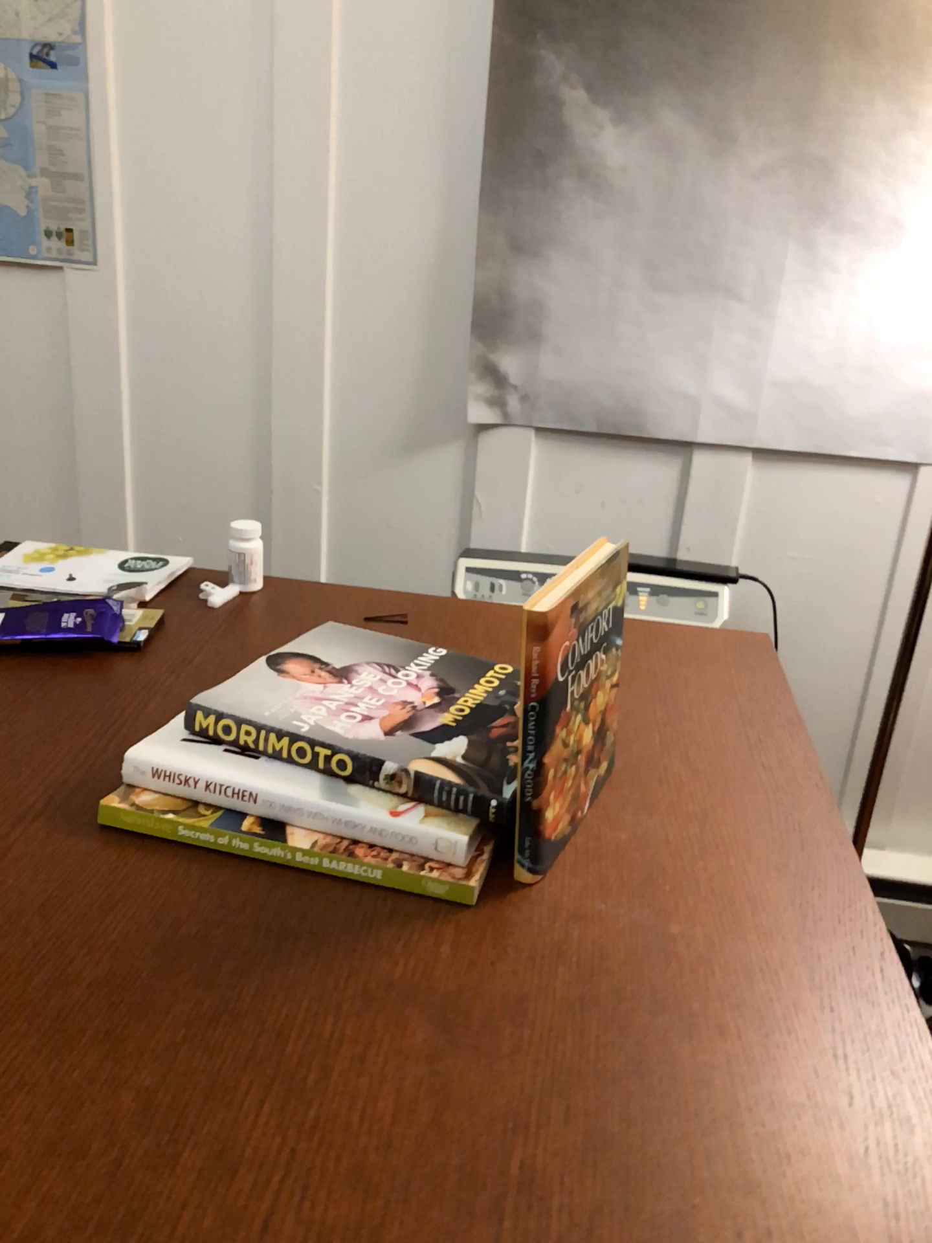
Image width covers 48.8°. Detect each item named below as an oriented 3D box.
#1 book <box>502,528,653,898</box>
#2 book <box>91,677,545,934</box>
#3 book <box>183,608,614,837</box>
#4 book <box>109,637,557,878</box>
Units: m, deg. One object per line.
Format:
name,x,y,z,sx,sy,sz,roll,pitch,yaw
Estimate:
book,0.086,0.056,0.761,0.030,0.209,0.211,11,21,22
book,-0.098,0.126,0.787,0.280,0.030,0.221,11,22,11
book,-0.045,0.067,0.831,0.280,0.030,0.221,13,23,18
book,-0.090,0.091,0.801,0.280,0.030,0.221,11,22,14
